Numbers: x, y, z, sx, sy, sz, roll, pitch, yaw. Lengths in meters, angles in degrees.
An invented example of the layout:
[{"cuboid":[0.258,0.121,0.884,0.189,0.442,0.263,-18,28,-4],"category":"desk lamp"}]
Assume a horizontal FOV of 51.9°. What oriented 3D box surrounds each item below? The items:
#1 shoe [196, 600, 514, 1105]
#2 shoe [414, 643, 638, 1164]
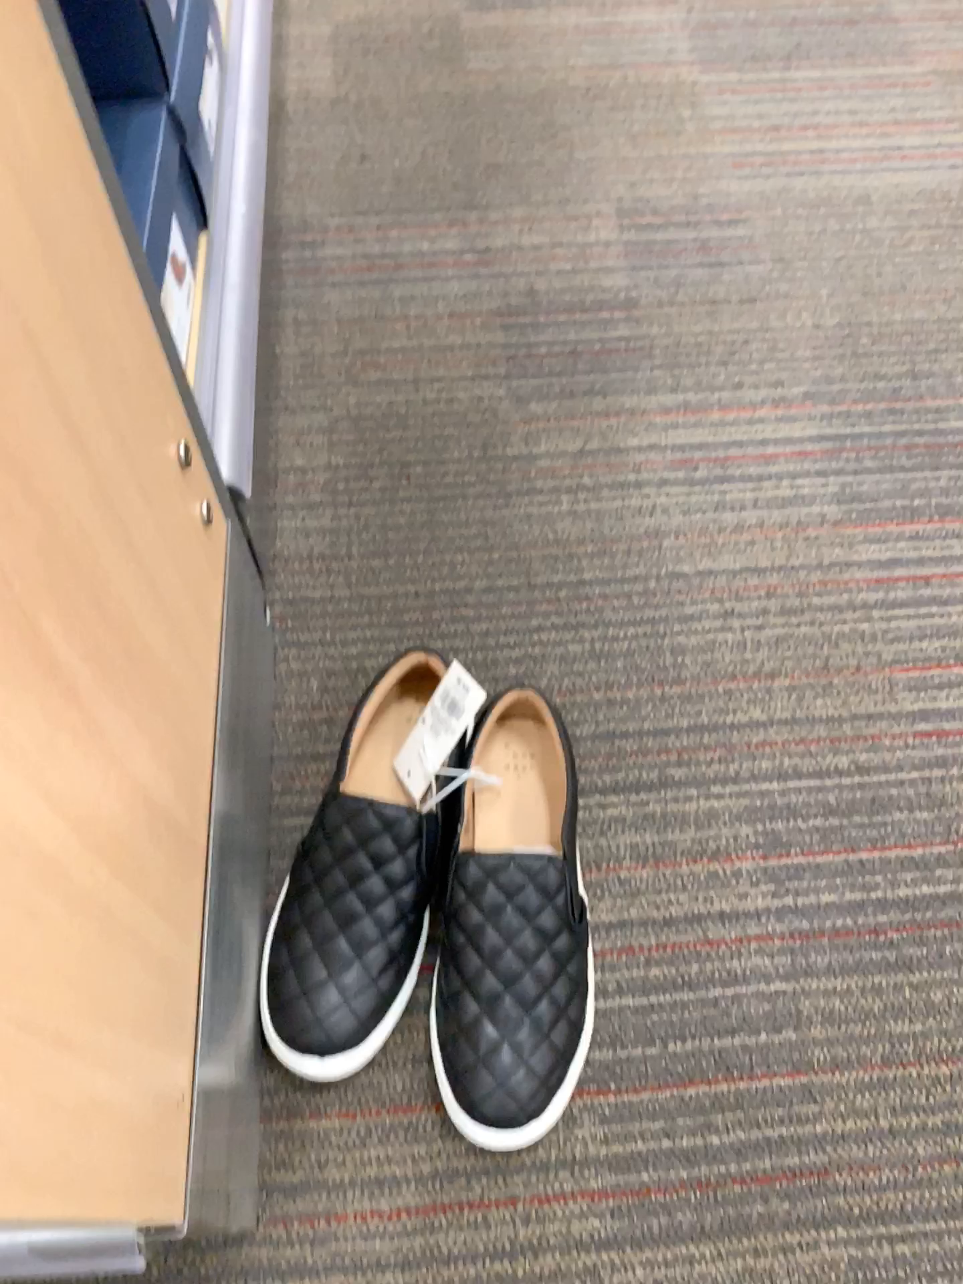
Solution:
[{"cuboid":[-0.060,0.118,0.590,0.100,0.100,0.260,12,60,7],"category":"shoe"},{"cuboid":[0.024,0.139,0.551,0.100,0.100,0.261,1,59,1],"category":"shoe"}]
